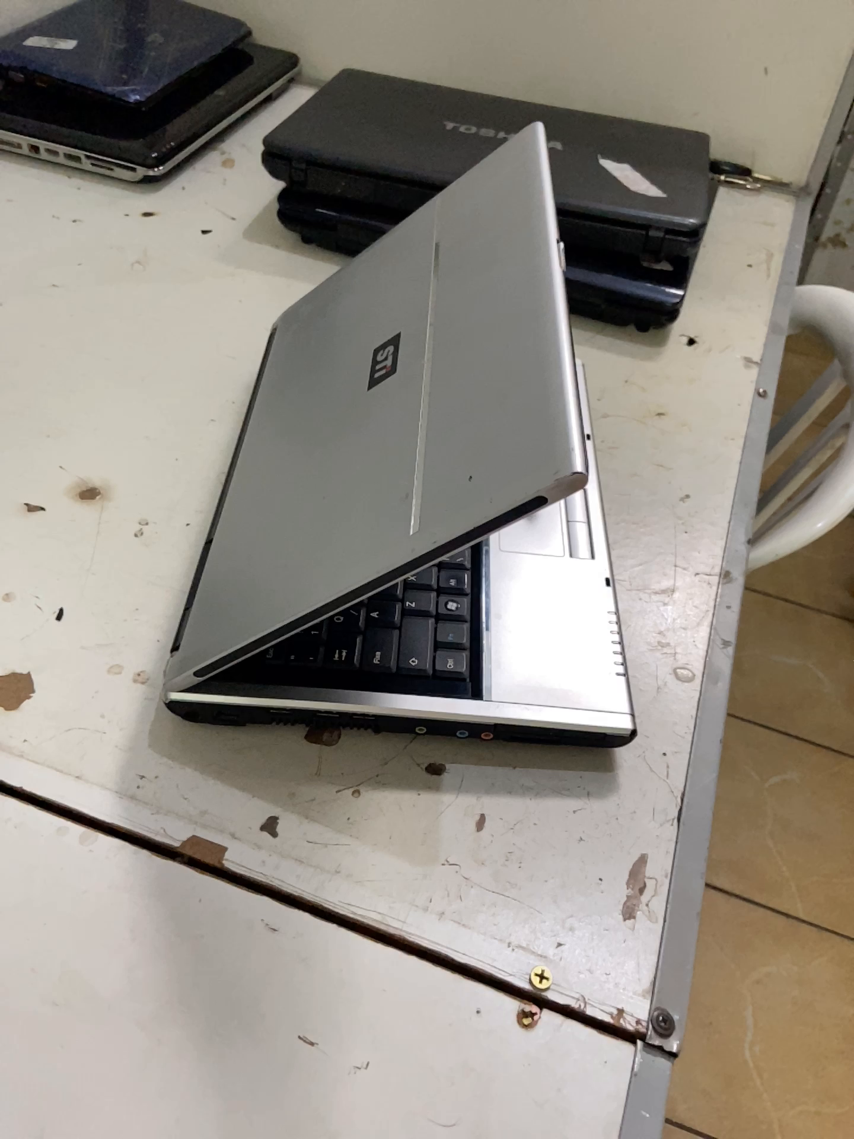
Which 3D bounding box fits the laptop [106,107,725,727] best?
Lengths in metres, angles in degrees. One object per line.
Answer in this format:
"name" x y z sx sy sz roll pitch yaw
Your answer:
"laptop" -0.002 -0.105 0.496 0.227 0.164 0.332 5 46 -1
